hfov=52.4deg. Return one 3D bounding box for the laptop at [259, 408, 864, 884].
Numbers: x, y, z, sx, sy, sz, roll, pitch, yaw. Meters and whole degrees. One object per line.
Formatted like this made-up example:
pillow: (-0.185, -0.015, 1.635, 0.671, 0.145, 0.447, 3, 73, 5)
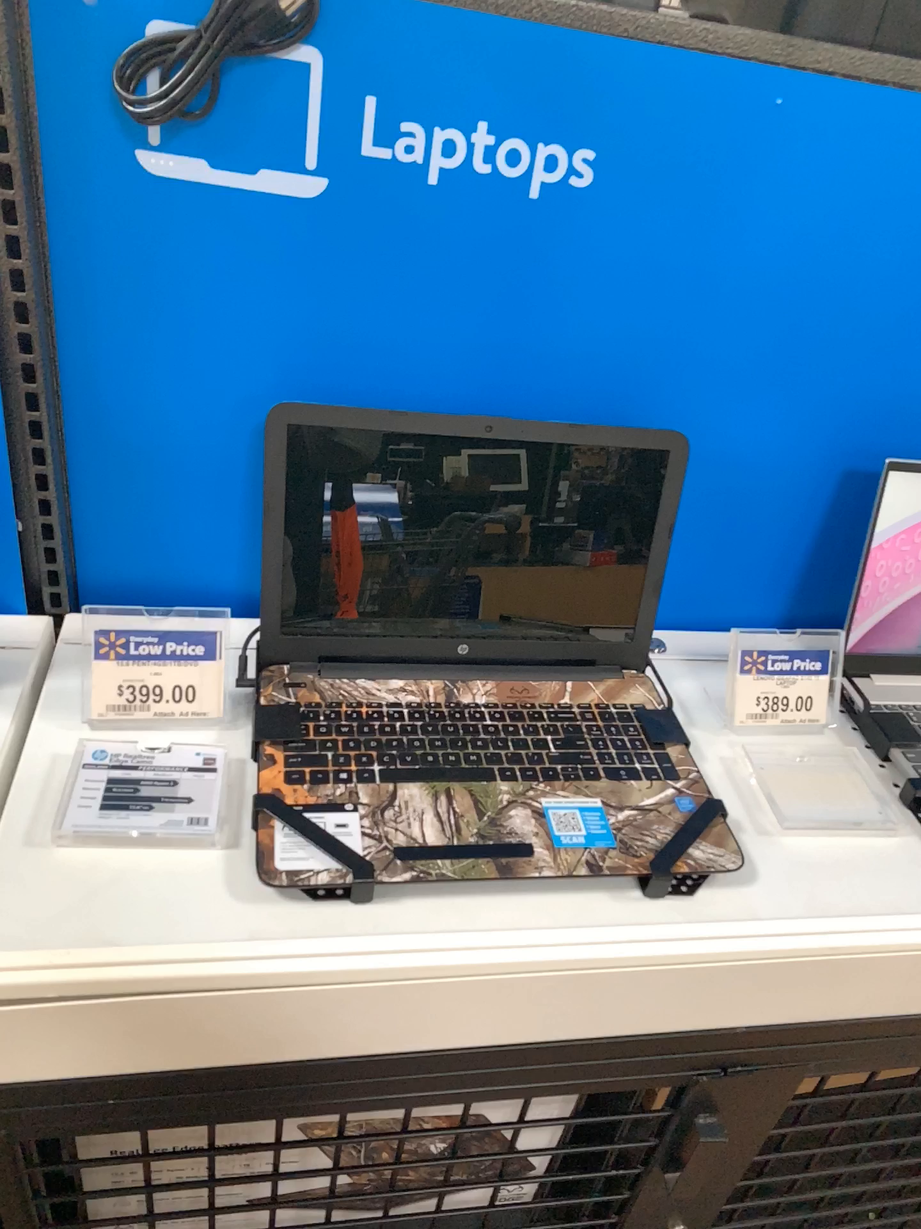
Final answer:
laptop: (0.033, 0.015, 0.750, 0.374, 0.227, 0.304, 2, 34, -12)
